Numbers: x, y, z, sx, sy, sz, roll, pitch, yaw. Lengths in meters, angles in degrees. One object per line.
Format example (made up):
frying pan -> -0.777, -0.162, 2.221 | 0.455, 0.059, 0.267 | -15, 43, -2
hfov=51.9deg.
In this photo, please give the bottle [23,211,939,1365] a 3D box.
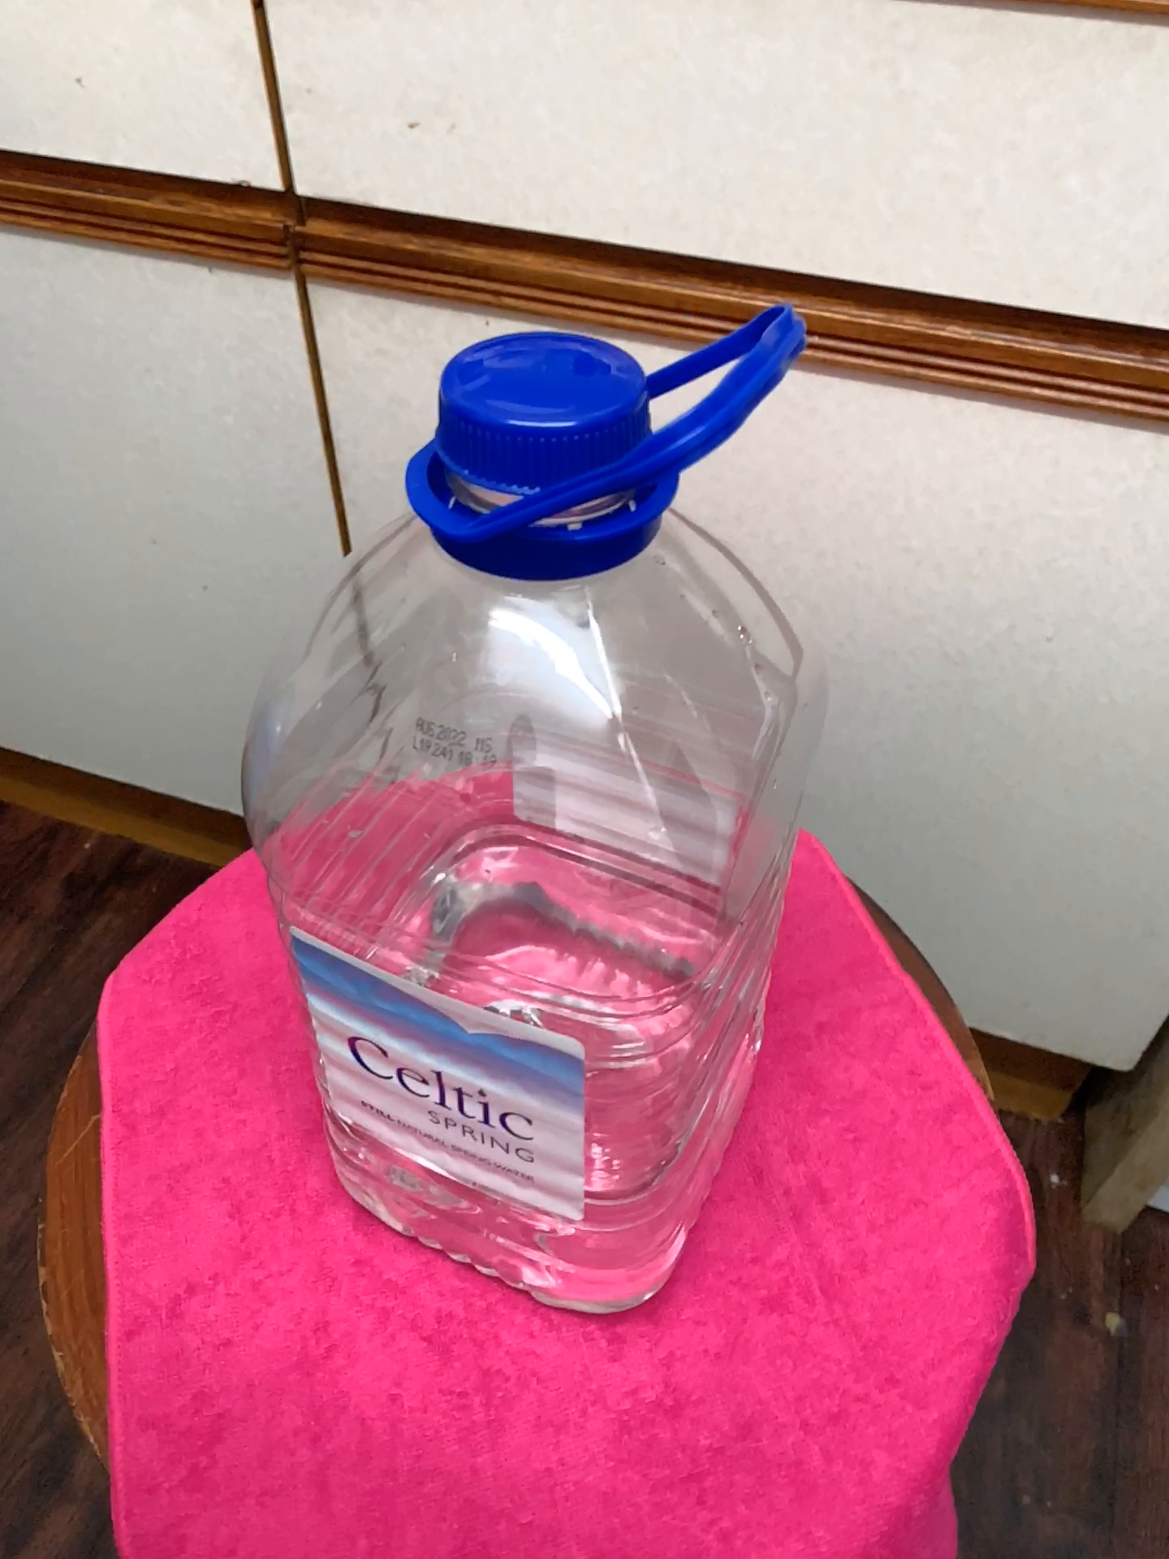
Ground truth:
bottle -> -0.015, 0.028, 0.379 | 0.150, 0.327, 0.141 | 0, 46, 0
